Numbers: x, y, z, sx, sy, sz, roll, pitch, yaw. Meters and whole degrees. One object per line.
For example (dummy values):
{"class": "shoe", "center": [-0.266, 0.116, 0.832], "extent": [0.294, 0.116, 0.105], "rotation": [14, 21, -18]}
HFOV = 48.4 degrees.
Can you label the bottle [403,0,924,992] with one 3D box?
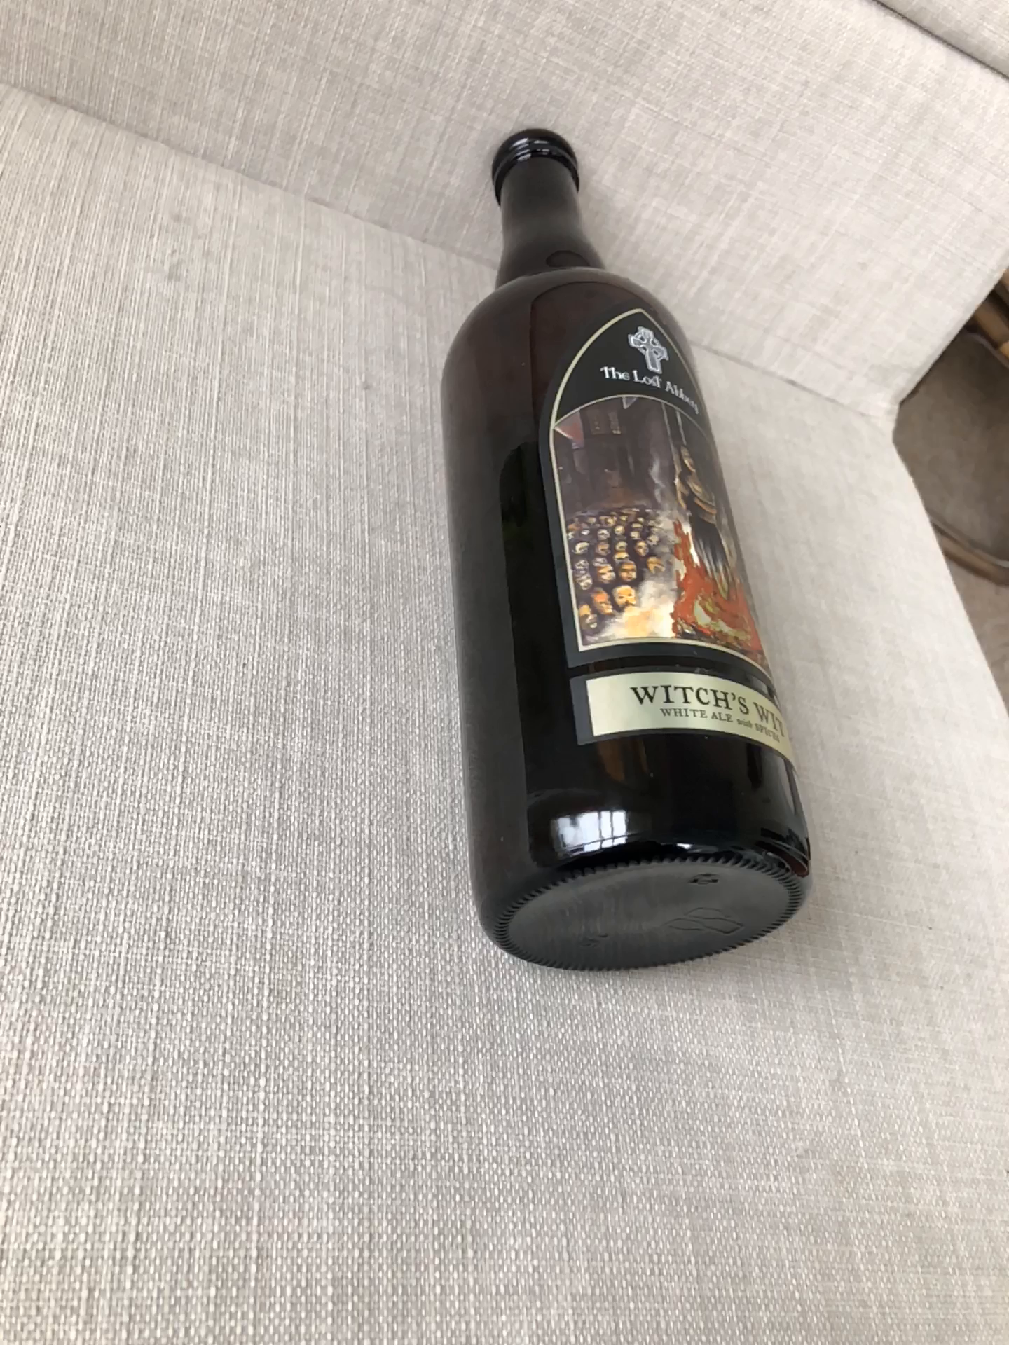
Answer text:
{"class": "bottle", "center": [0.026, -0.064, 0.319], "extent": [0.080, 0.079, 0.282], "rotation": [13, 55, -25]}
